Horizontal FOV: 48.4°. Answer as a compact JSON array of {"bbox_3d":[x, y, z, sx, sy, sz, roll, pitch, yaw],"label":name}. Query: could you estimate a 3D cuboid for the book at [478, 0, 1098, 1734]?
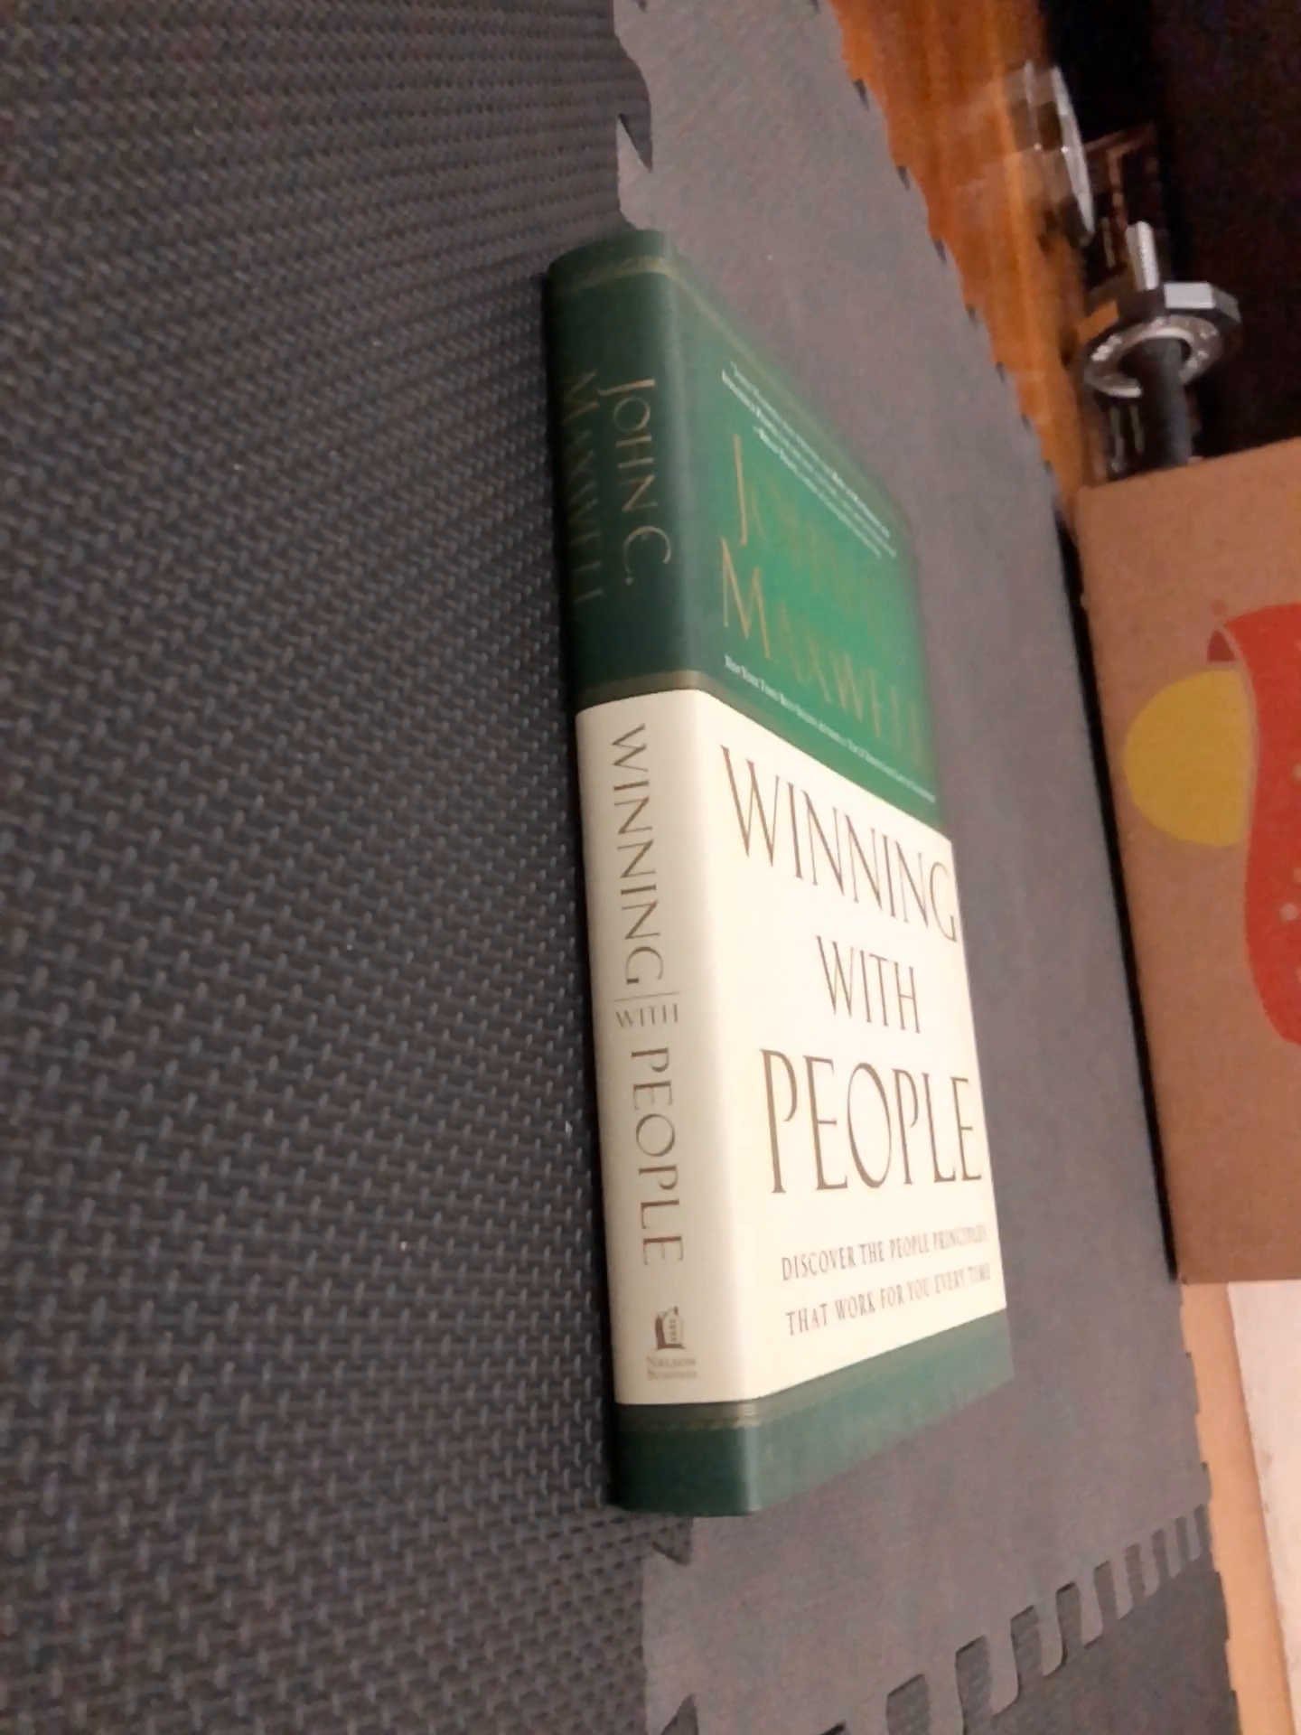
[{"bbox_3d":[0.039,0.001,0.315,0.201,0.030,0.290,22,60,-59],"label":"book"}]
